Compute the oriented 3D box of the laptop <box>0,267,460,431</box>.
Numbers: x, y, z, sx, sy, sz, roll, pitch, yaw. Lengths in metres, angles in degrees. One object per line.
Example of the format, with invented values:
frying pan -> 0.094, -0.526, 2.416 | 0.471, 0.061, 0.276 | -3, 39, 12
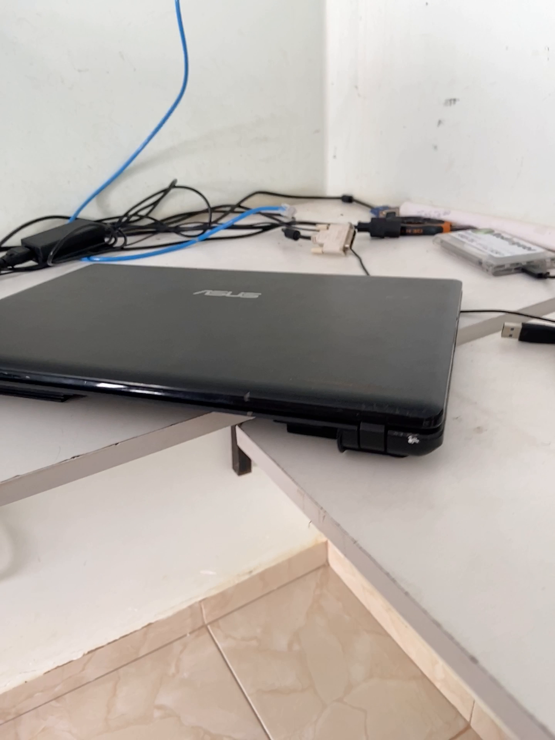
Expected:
laptop -> -0.059, -0.041, 0.456 | 0.380, 0.010, 0.254 | 5, 25, 18
